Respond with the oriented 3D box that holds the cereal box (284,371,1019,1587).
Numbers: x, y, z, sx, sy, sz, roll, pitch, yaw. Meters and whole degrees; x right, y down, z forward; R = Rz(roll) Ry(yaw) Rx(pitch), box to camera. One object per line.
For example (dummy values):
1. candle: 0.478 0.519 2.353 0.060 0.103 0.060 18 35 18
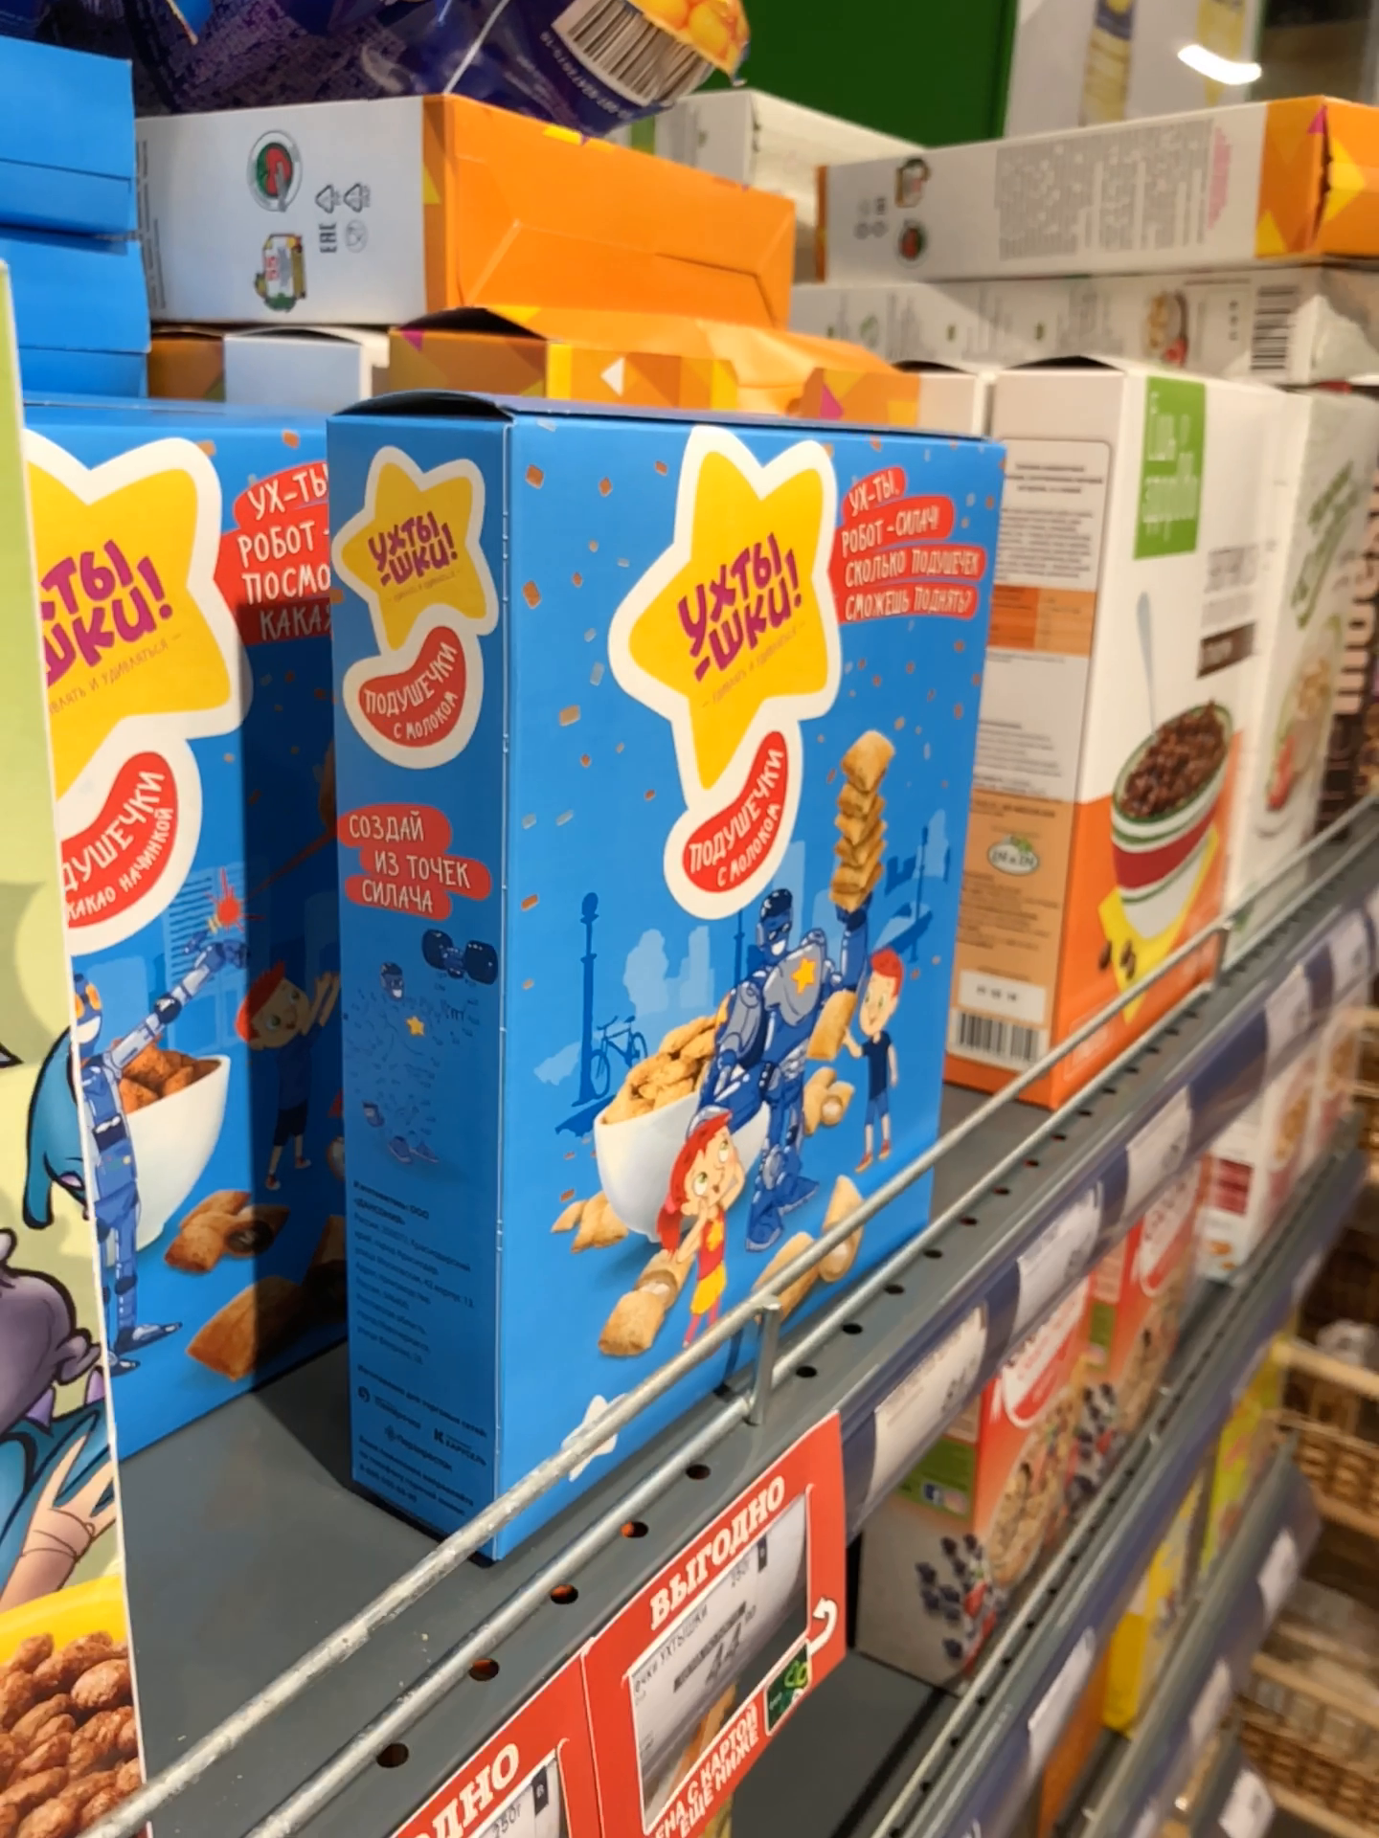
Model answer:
1. cereal box: 0.002 -0.003 0.376 0.050 0.239 0.201 15 22 34
